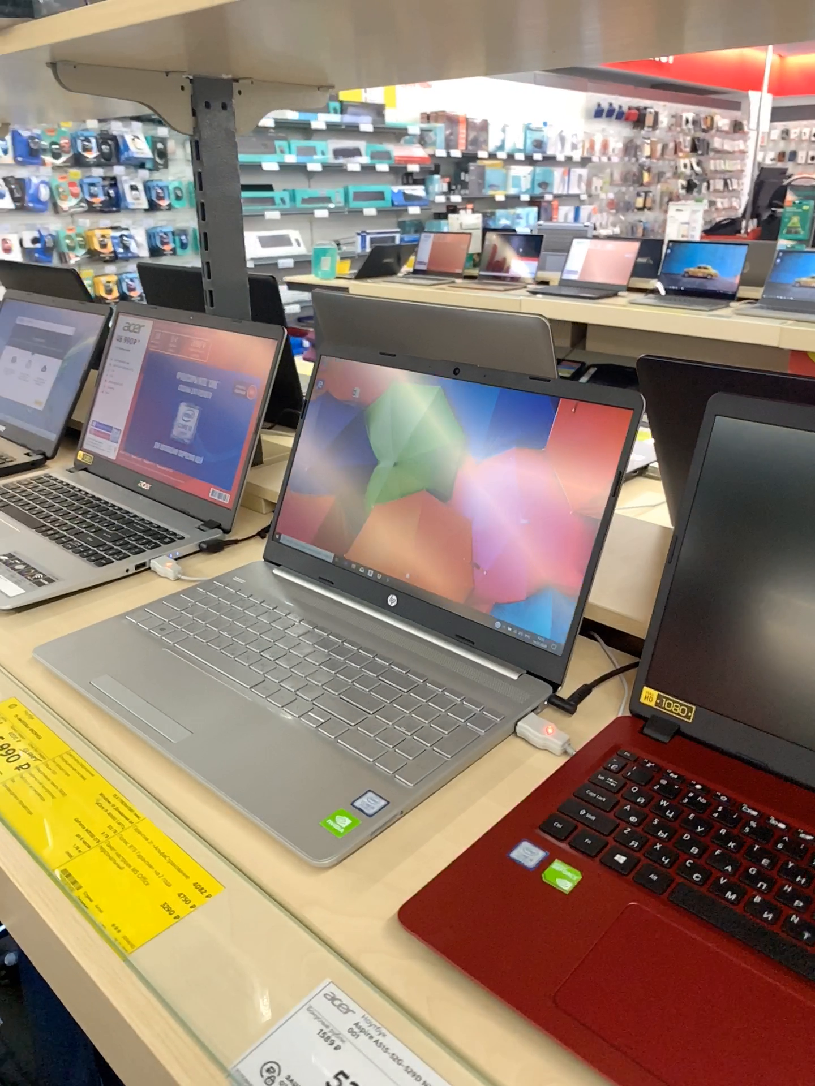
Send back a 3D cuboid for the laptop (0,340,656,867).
[{"bbox_3d":[-0.064,-0.013,0.660,0.360,0.209,0.347,19,30,39],"label":"laptop"}]
